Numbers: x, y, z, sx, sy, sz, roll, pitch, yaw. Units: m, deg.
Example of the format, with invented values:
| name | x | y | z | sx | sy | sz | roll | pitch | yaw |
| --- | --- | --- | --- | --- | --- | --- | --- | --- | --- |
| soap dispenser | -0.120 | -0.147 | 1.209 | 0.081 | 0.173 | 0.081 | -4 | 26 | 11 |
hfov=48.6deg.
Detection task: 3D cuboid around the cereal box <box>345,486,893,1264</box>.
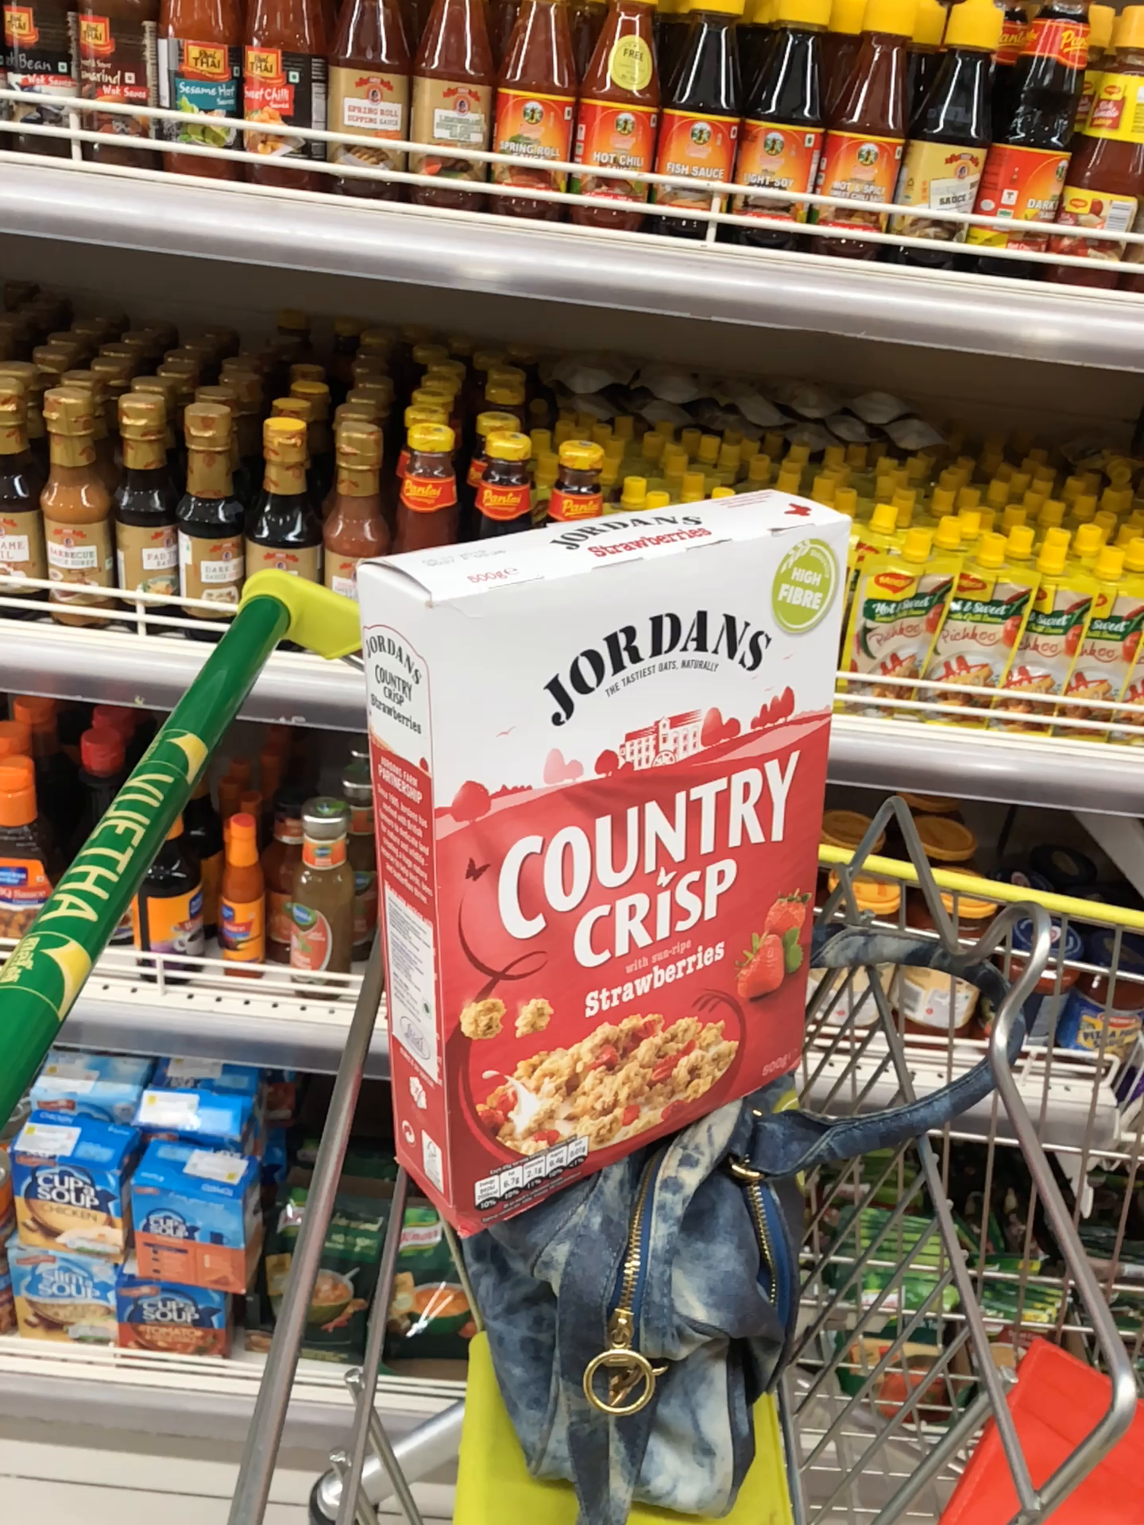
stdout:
| name | x | y | z | sx | sy | sz | roll | pitch | yaw |
| --- | --- | --- | --- | --- | --- | --- | --- | --- | --- |
| cereal box | 0.018 | 0.036 | 0.481 | 0.190 | 0.249 | 0.060 | -16 | 31 | -34 |
